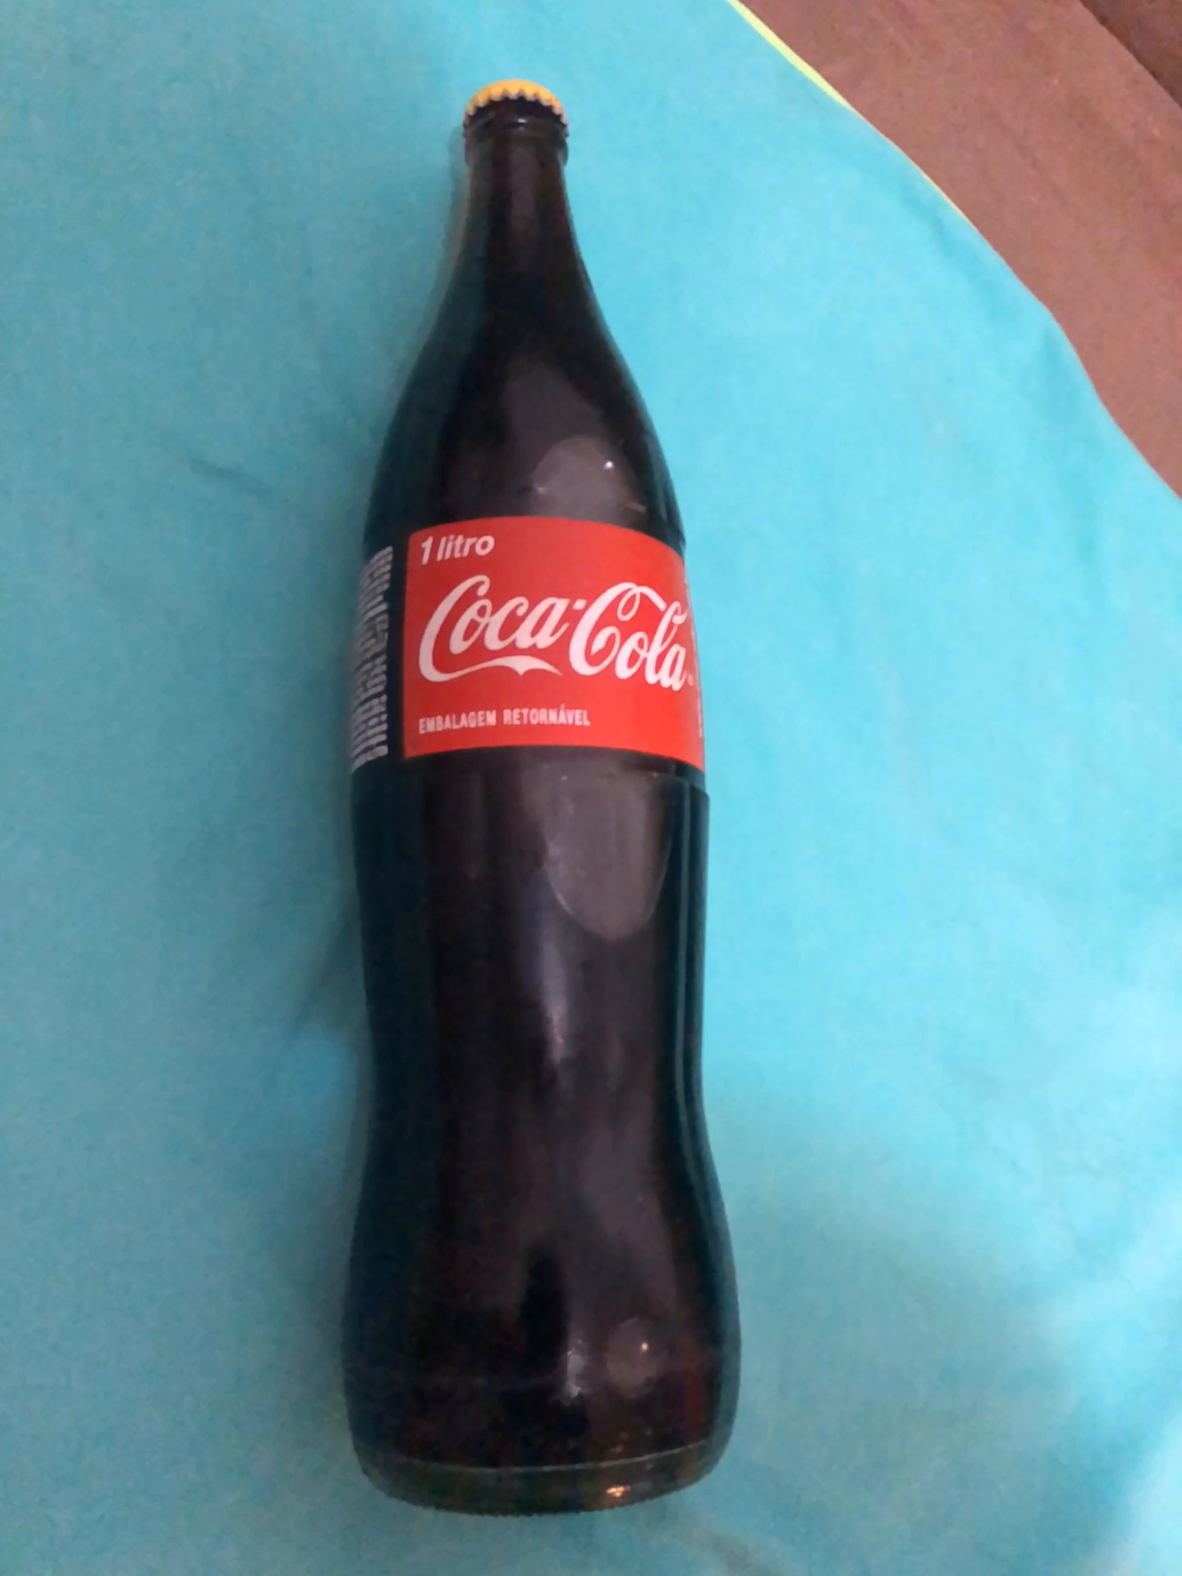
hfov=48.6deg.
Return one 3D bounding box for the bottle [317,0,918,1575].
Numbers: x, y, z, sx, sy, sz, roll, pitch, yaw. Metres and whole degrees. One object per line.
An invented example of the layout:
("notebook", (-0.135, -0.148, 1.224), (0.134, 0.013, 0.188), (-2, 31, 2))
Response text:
("bottle", (-0.004, -0.023, 0.304), (0.100, 0.070, 0.360), (4, 75, -28))
